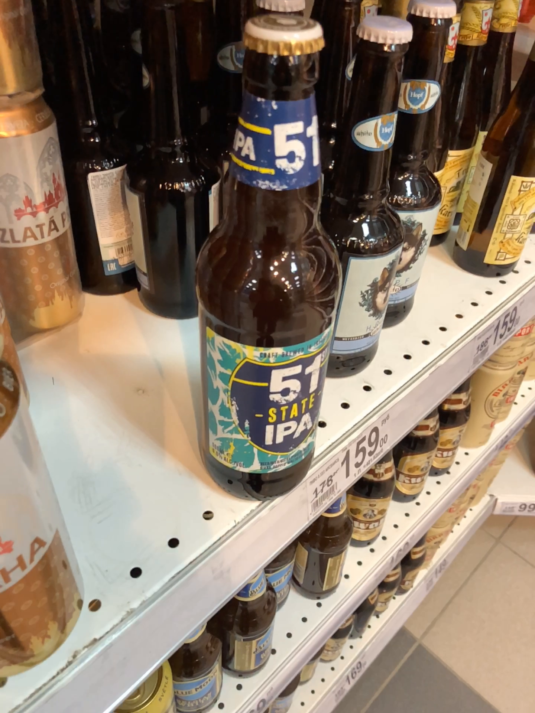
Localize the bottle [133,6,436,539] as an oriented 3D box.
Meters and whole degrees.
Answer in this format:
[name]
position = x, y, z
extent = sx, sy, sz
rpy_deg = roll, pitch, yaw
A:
[bottle]
position = -0.002, -0.023, 0.285
extent = 0.080, 0.239, 0.070
rpy_deg = -25, 49, -30
